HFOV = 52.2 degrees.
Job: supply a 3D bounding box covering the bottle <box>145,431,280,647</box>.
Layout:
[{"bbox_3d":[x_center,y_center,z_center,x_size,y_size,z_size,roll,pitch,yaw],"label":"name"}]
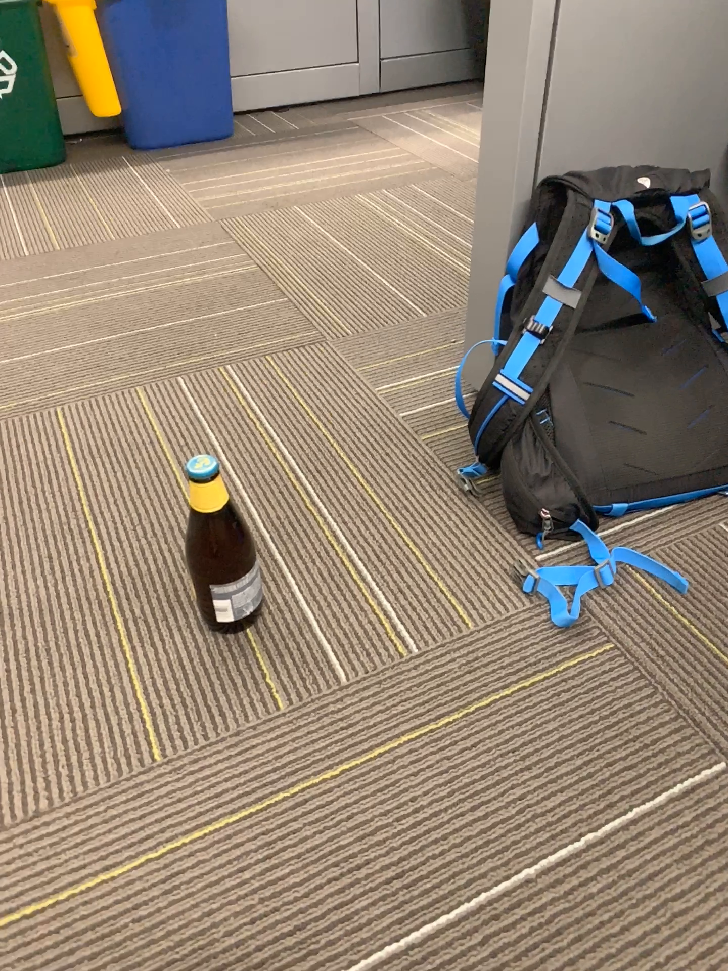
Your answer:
[{"bbox_3d":[-0.135,0.052,0.684,0.070,0.179,0.070,-1,39,1],"label":"bottle"}]
